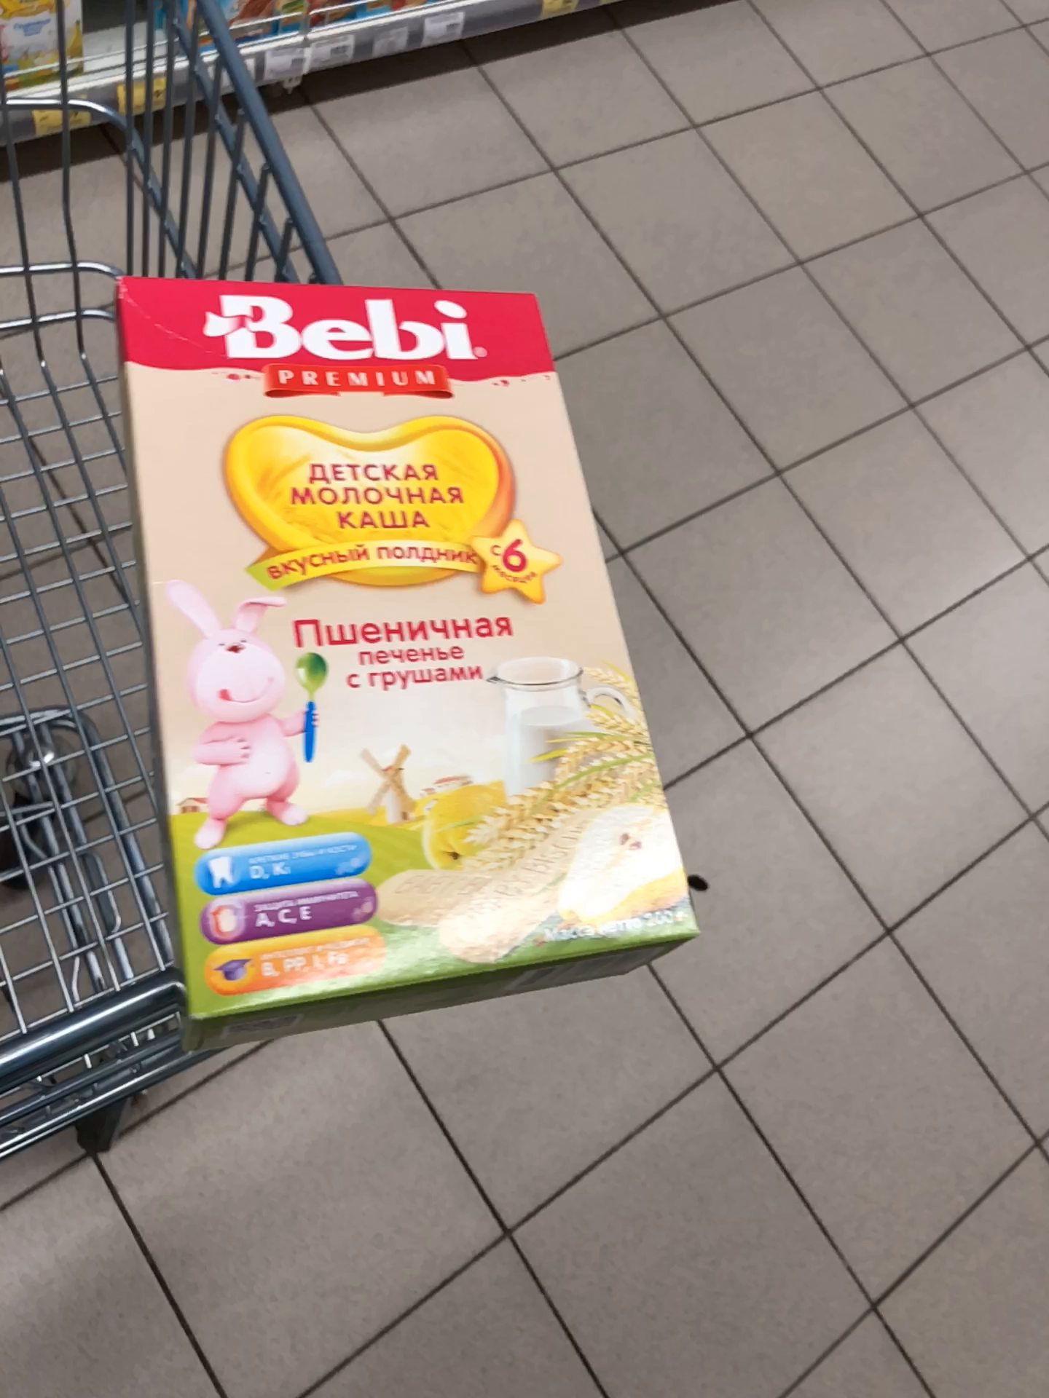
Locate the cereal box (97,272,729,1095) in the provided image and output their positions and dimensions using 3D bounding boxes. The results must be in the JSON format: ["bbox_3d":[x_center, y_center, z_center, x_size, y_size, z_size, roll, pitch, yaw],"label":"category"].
[{"bbox_3d":[-0.040,-0.015,0.318,0.130,0.050,0.210,-5,67,-19],"label":"cereal box"}]
